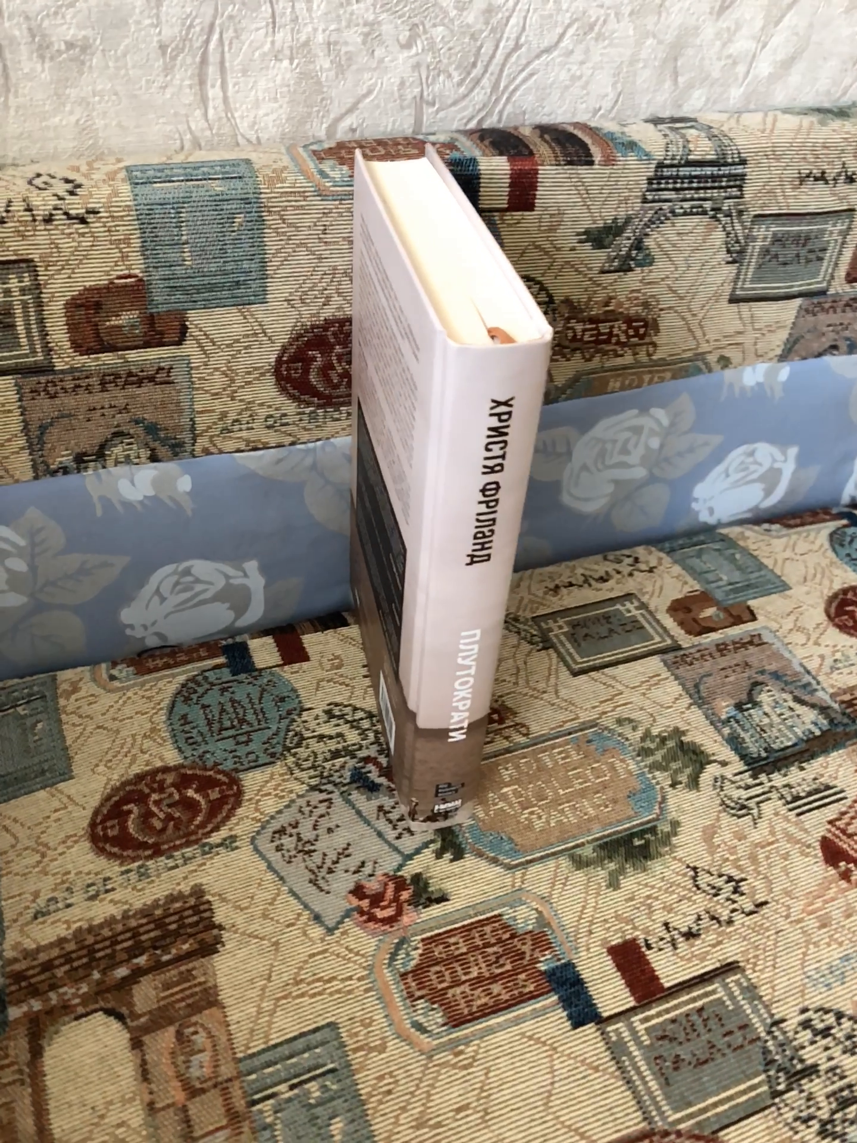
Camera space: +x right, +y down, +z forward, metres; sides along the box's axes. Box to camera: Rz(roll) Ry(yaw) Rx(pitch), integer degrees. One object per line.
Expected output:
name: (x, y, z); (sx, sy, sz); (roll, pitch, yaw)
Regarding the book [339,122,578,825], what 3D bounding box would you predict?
book: (-0.005, -0.037, 0.378); (0.040, 0.218, 0.171); (-5, 42, -11)
